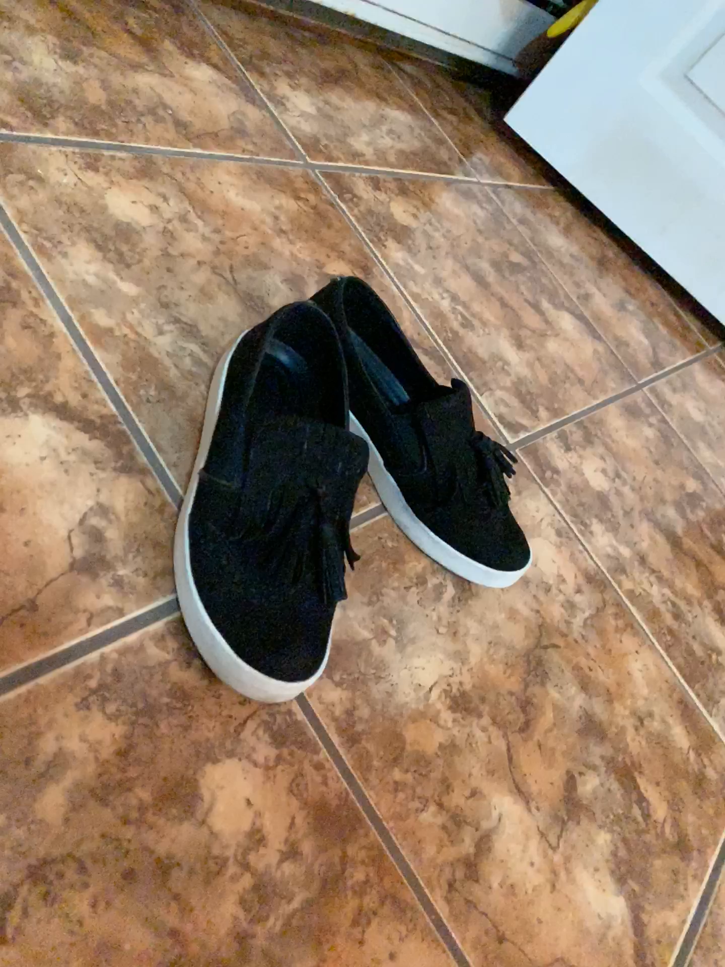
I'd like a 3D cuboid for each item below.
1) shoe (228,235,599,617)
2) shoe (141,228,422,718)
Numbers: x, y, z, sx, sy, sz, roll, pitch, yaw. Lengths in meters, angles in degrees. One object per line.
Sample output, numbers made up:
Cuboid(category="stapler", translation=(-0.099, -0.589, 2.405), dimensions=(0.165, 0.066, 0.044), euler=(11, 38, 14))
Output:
Cuboid(category="shoe", translation=(0.037, -0.045, 0.528), dimensions=(0.249, 0.093, 0.098), euler=(49, 39, 3))
Cuboid(category="shoe", translation=(-0.057, -0.010, 0.414), dimensions=(0.098, 0.093, 0.250), euler=(15, 49, -33))
